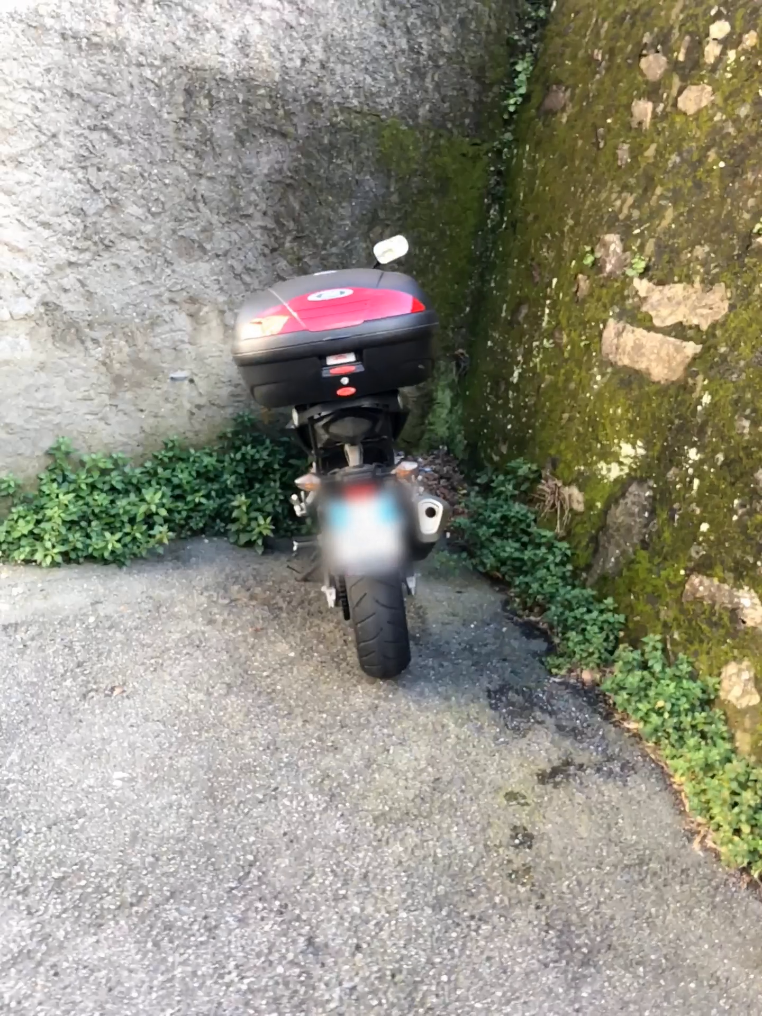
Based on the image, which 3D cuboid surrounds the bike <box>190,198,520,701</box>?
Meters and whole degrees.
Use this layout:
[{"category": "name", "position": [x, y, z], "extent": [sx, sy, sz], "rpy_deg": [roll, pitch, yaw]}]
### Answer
[{"category": "bike", "position": [-0.270, -0.385, 3.156], "extent": [0.711, 1.198, 1.791], "rpy_deg": [0, 23, -16]}]
